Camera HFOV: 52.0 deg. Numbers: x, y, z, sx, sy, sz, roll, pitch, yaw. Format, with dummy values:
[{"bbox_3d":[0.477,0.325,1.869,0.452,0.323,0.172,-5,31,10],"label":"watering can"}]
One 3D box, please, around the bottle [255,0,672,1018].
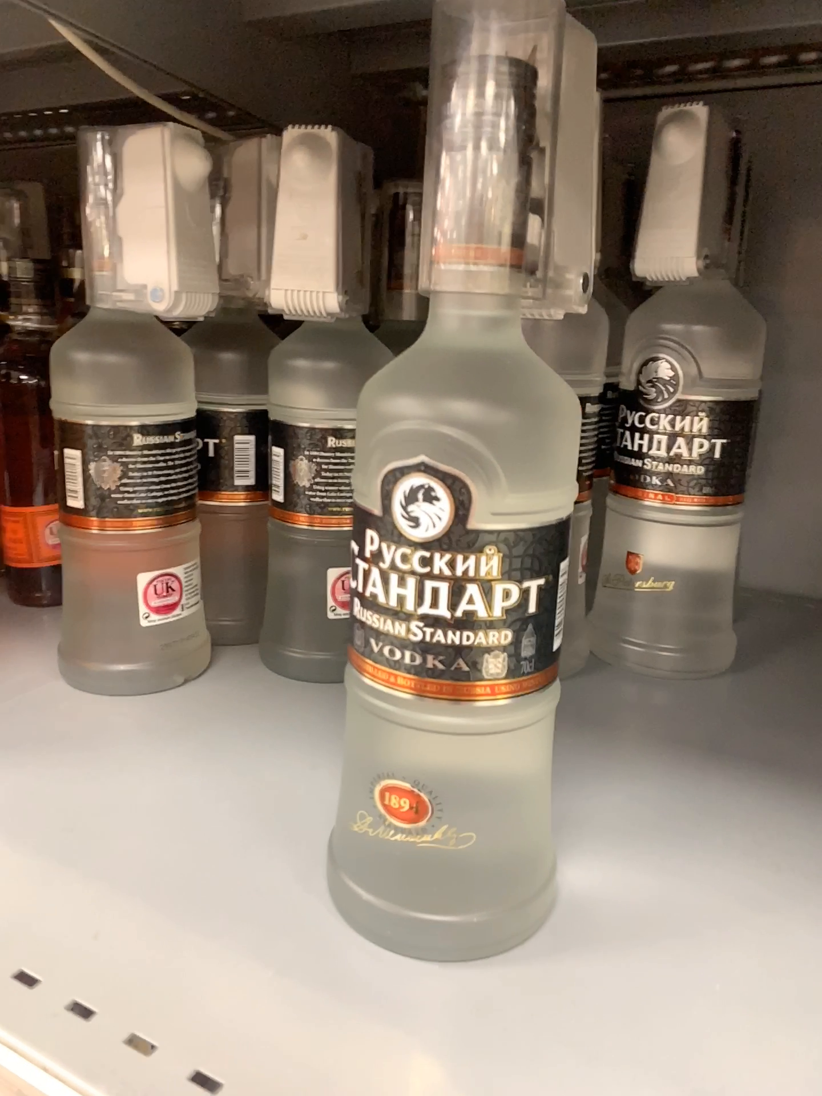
[{"bbox_3d":[0.014,-0.014,0.280,0.092,0.288,0.088,2,14,-1],"label":"bottle"}]
